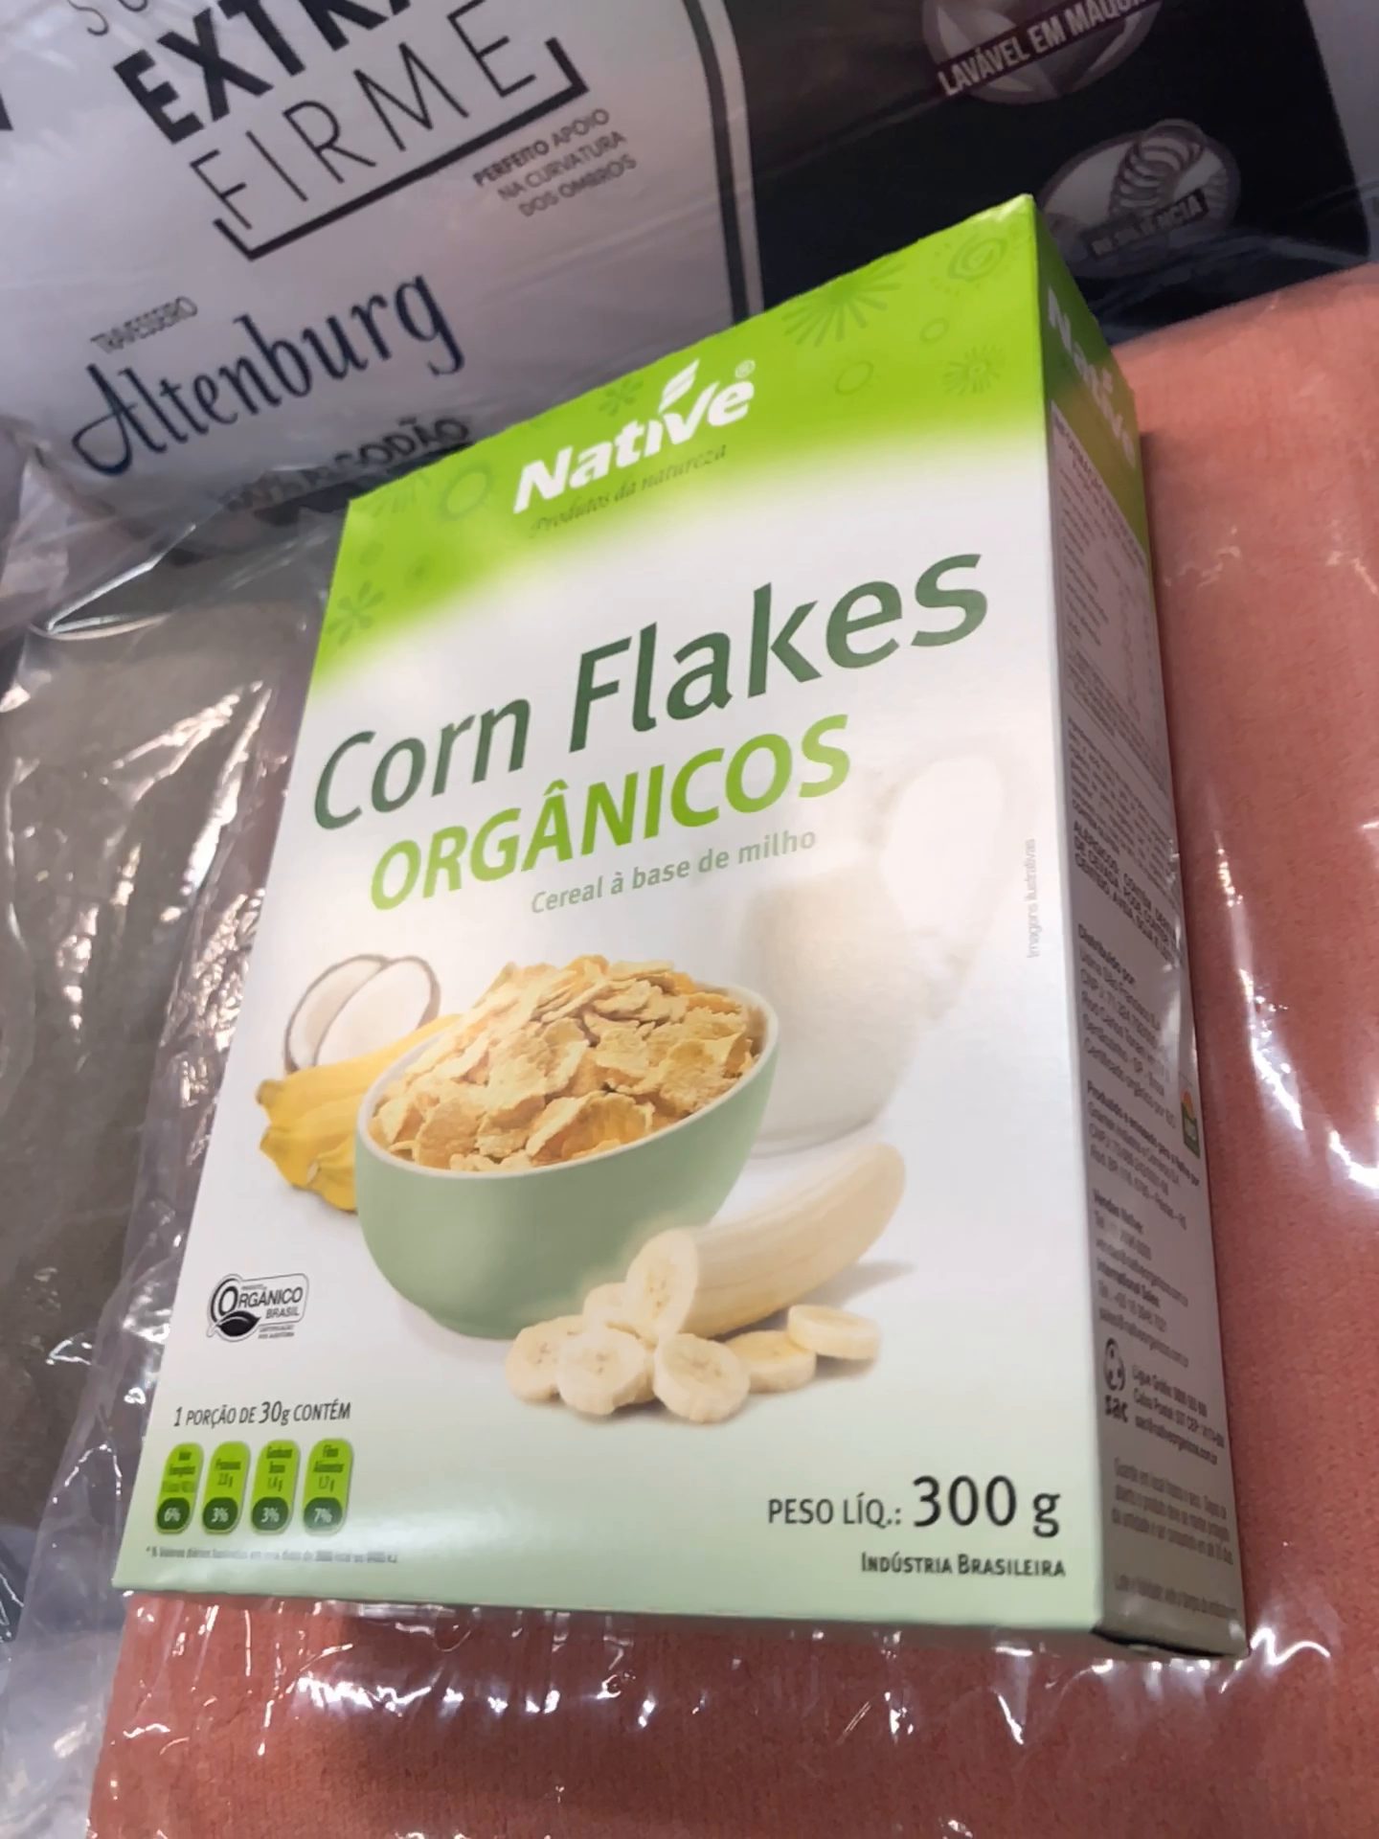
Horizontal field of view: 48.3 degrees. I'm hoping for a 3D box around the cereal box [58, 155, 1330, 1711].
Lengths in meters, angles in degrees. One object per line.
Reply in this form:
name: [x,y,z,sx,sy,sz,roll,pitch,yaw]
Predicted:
cereal box: [0.000,0.001,0.279,0.181,0.060,0.241,-12,59,28]
